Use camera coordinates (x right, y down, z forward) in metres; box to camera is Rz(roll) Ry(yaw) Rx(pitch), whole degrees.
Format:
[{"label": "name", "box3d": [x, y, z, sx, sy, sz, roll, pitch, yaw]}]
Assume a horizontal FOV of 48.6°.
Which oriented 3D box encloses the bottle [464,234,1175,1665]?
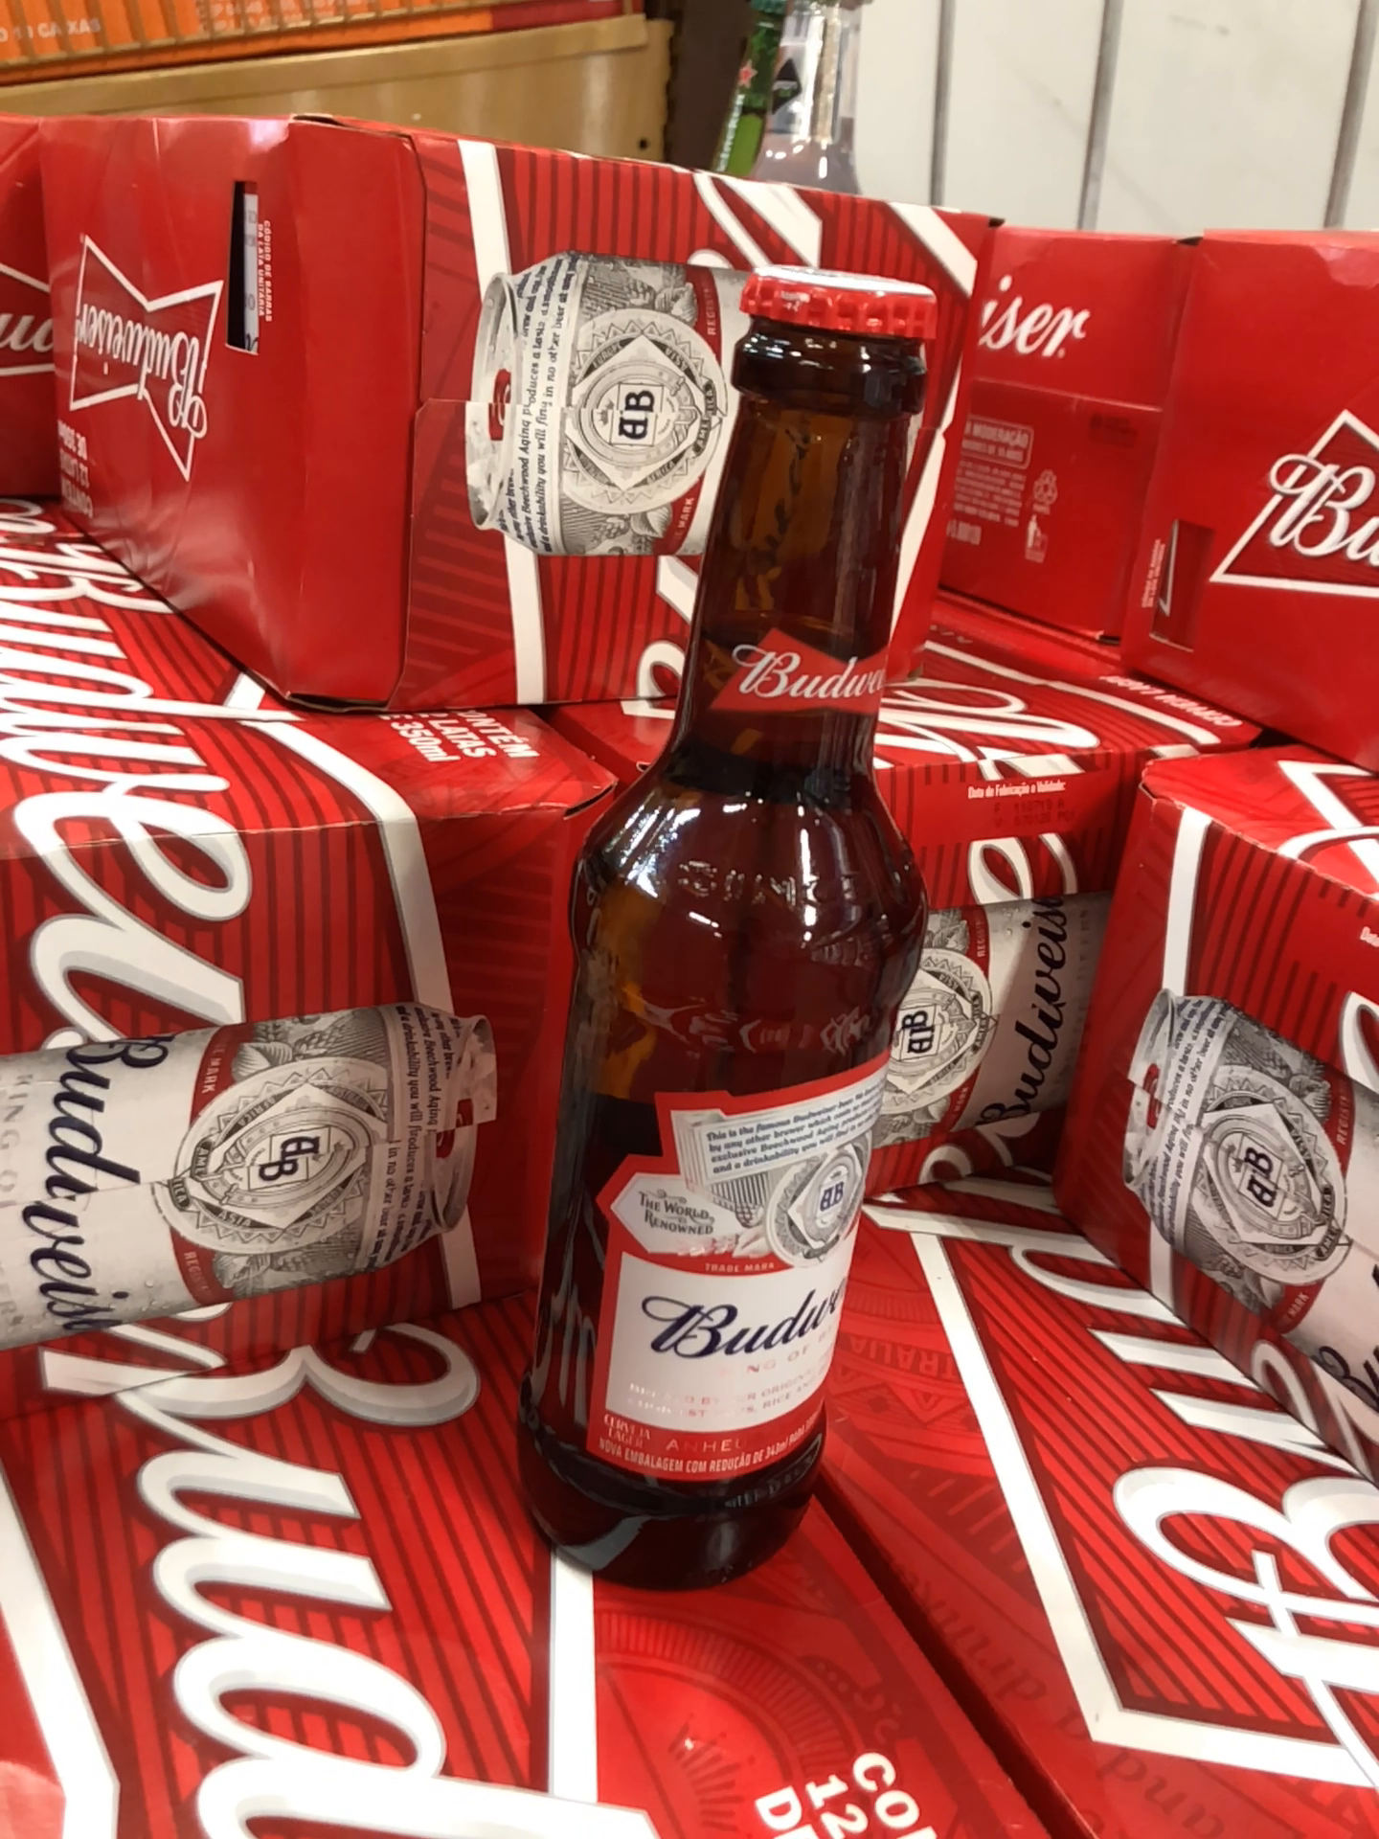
[{"label": "bottle", "box3d": [0.012, 0.010, 0.266, 0.070, 0.228, 0.060, -12, 30, -36]}]
